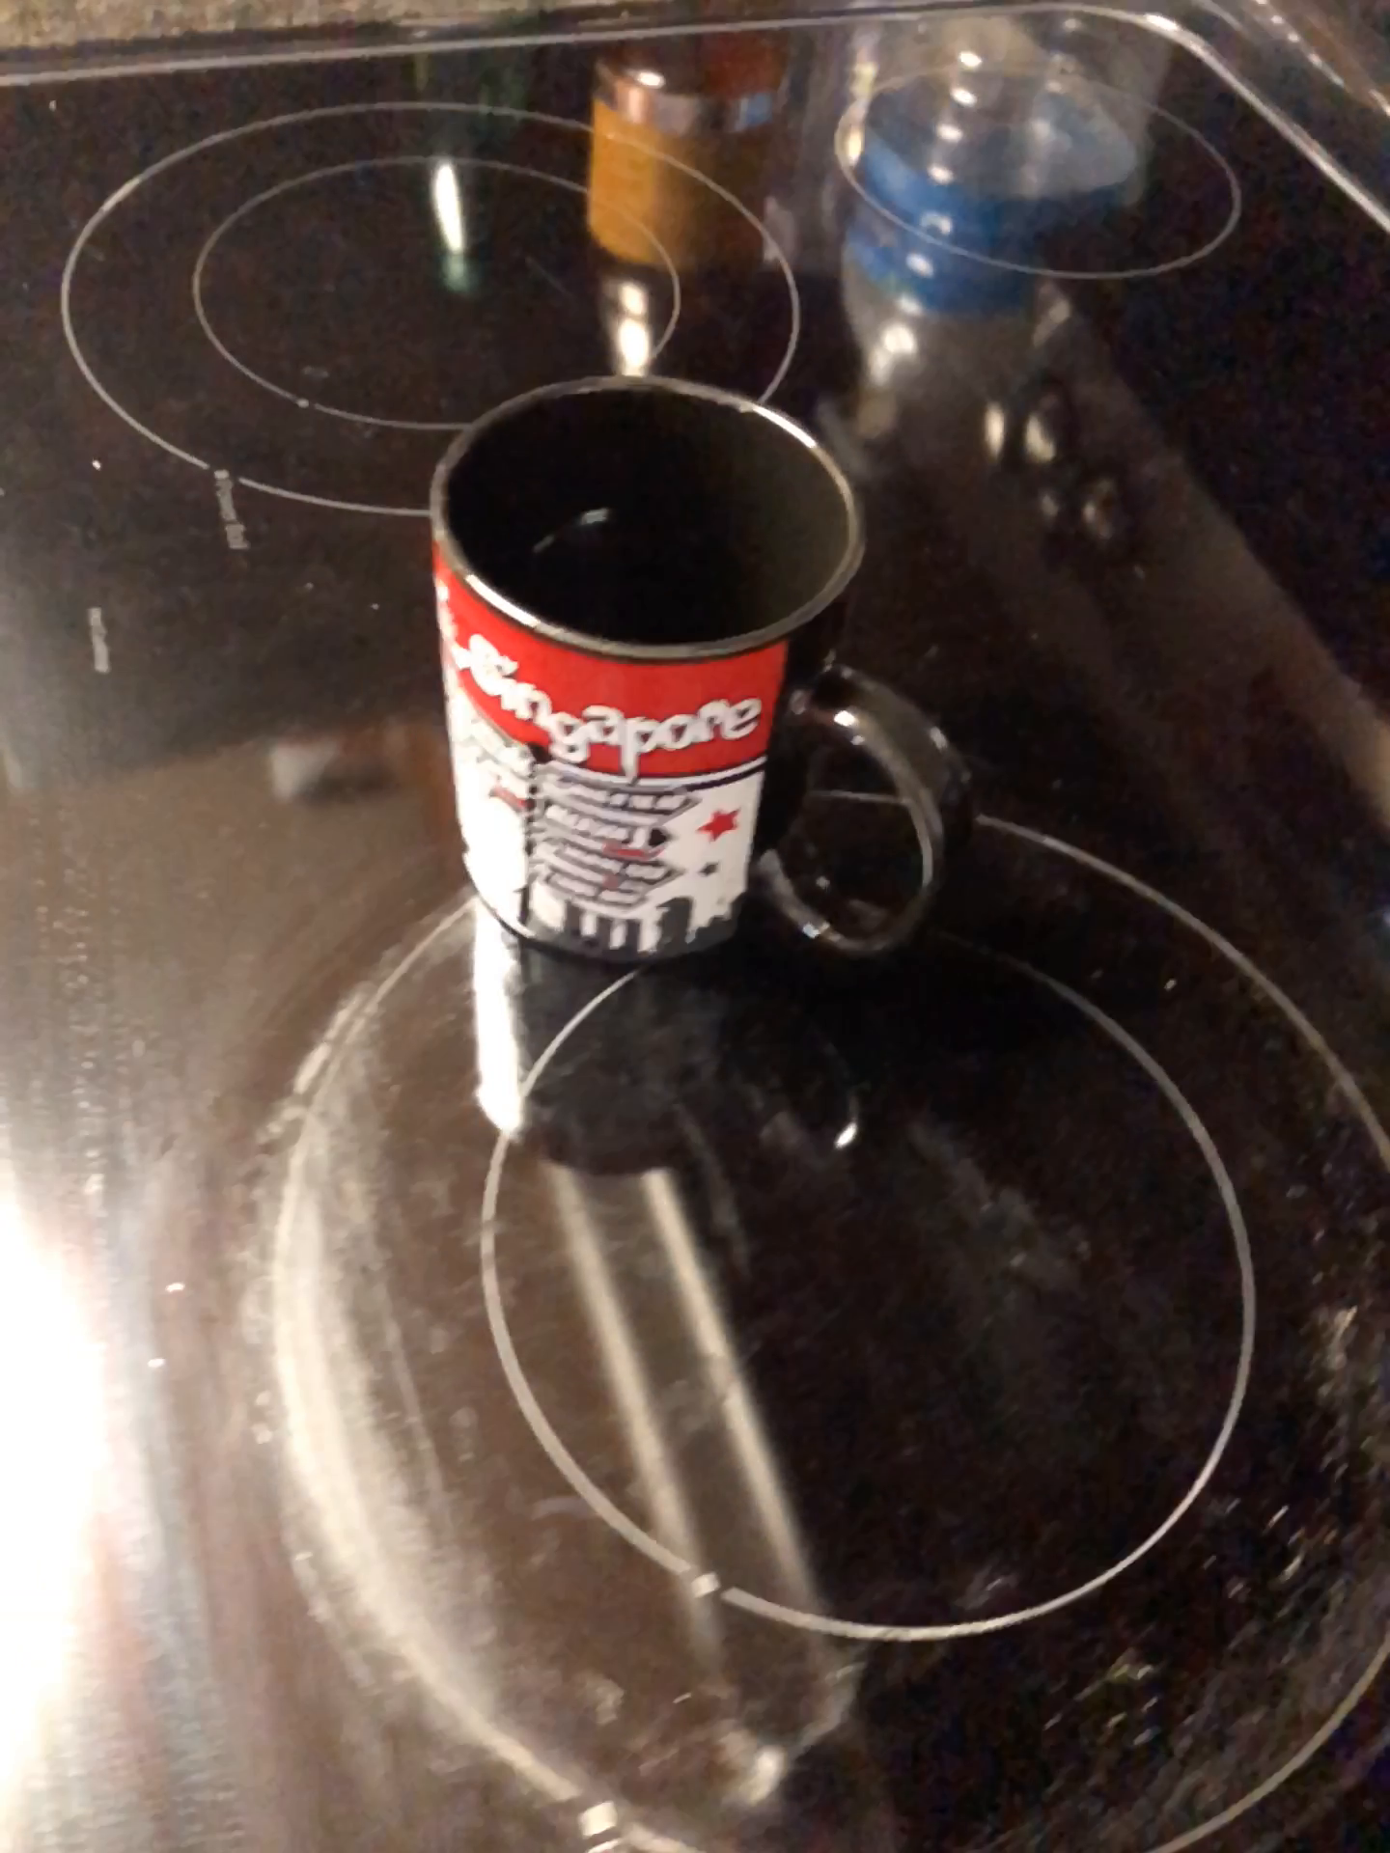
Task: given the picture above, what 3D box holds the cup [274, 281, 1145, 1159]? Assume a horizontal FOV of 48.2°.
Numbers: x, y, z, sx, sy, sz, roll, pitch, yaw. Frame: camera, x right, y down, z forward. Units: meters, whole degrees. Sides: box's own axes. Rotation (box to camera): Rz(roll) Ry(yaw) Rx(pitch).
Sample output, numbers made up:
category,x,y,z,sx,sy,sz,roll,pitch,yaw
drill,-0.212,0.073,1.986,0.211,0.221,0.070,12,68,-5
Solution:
category,x,y,z,sx,sy,sz,roll,pitch,yaw
cup,-0.002,-0.045,0.312,0.090,0.090,0.130,-37,64,-28
